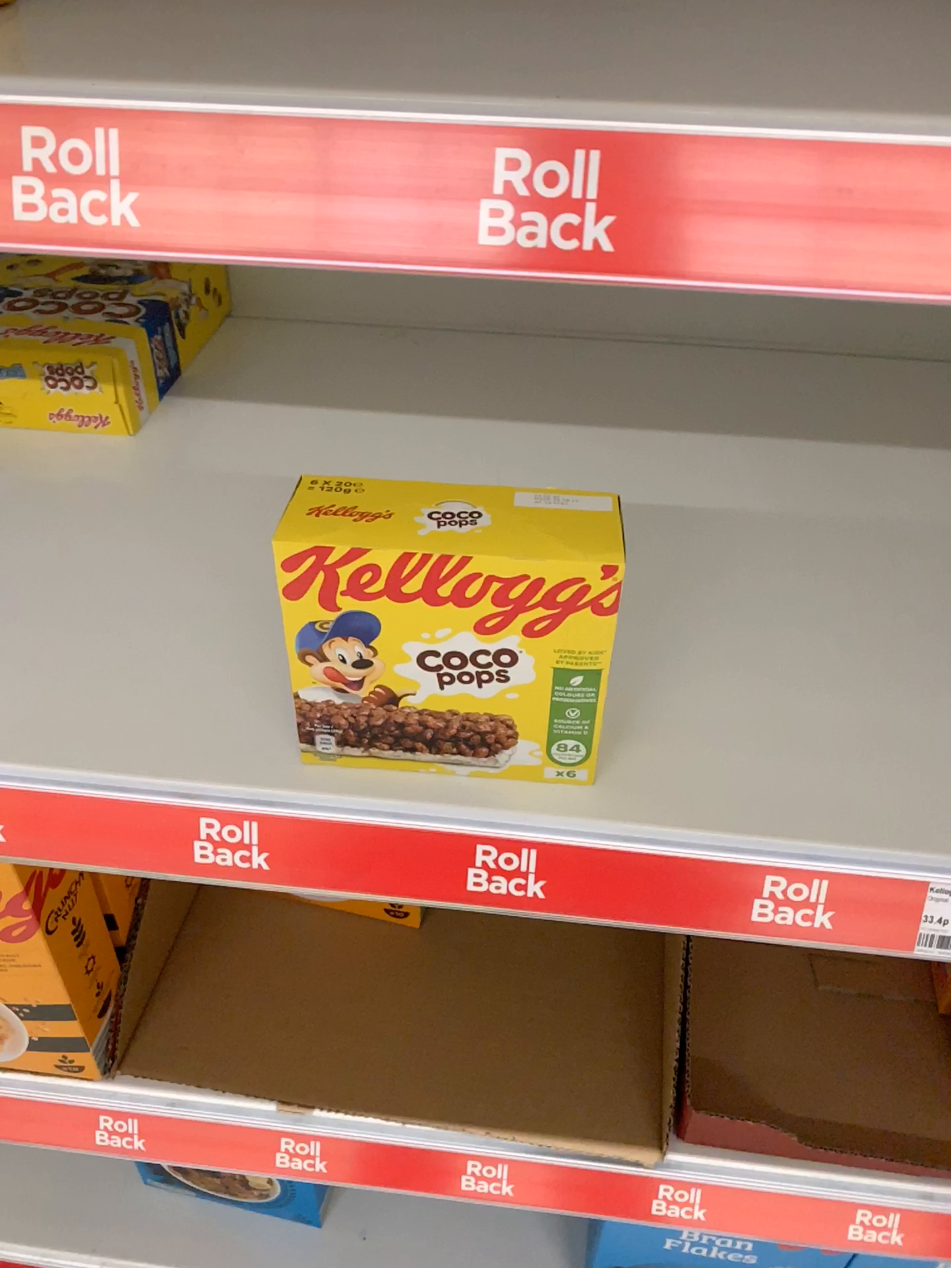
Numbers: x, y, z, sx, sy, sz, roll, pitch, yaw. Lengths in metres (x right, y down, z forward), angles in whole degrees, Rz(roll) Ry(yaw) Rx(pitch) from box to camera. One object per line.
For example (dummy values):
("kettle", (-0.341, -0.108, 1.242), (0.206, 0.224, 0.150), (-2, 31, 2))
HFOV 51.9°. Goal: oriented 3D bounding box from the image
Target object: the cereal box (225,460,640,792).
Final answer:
("cereal box", (-0.015, -0.002, 0.412), (0.150, 0.119, 0.061), (4, 40, 3))
